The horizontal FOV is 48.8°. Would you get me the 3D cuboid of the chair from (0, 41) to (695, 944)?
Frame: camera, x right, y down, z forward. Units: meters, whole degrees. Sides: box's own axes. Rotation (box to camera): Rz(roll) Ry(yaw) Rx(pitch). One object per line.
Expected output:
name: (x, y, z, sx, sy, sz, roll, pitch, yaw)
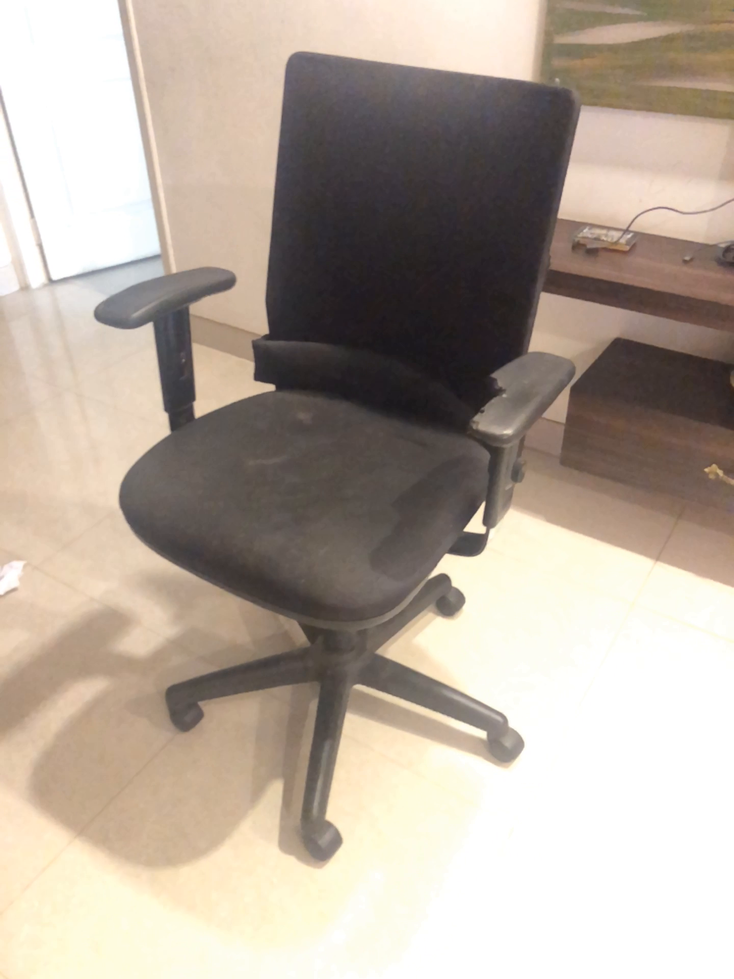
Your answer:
chair: (-0.042, -0.044, 1.264, 0.711, 1.042, 0.704, 18, 40, 25)
